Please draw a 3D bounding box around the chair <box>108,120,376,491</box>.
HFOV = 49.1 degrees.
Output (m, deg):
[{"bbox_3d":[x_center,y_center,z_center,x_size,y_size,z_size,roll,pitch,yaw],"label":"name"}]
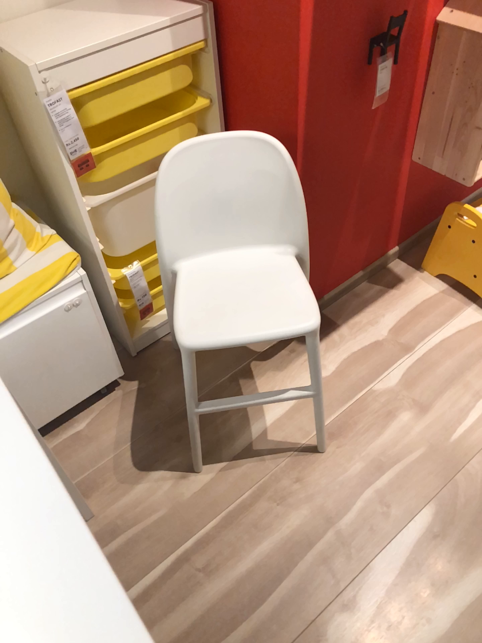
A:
[{"bbox_3d":[-0.012,0.002,1.235,0.420,0.706,0.463,-9,51,-3],"label":"chair"}]
